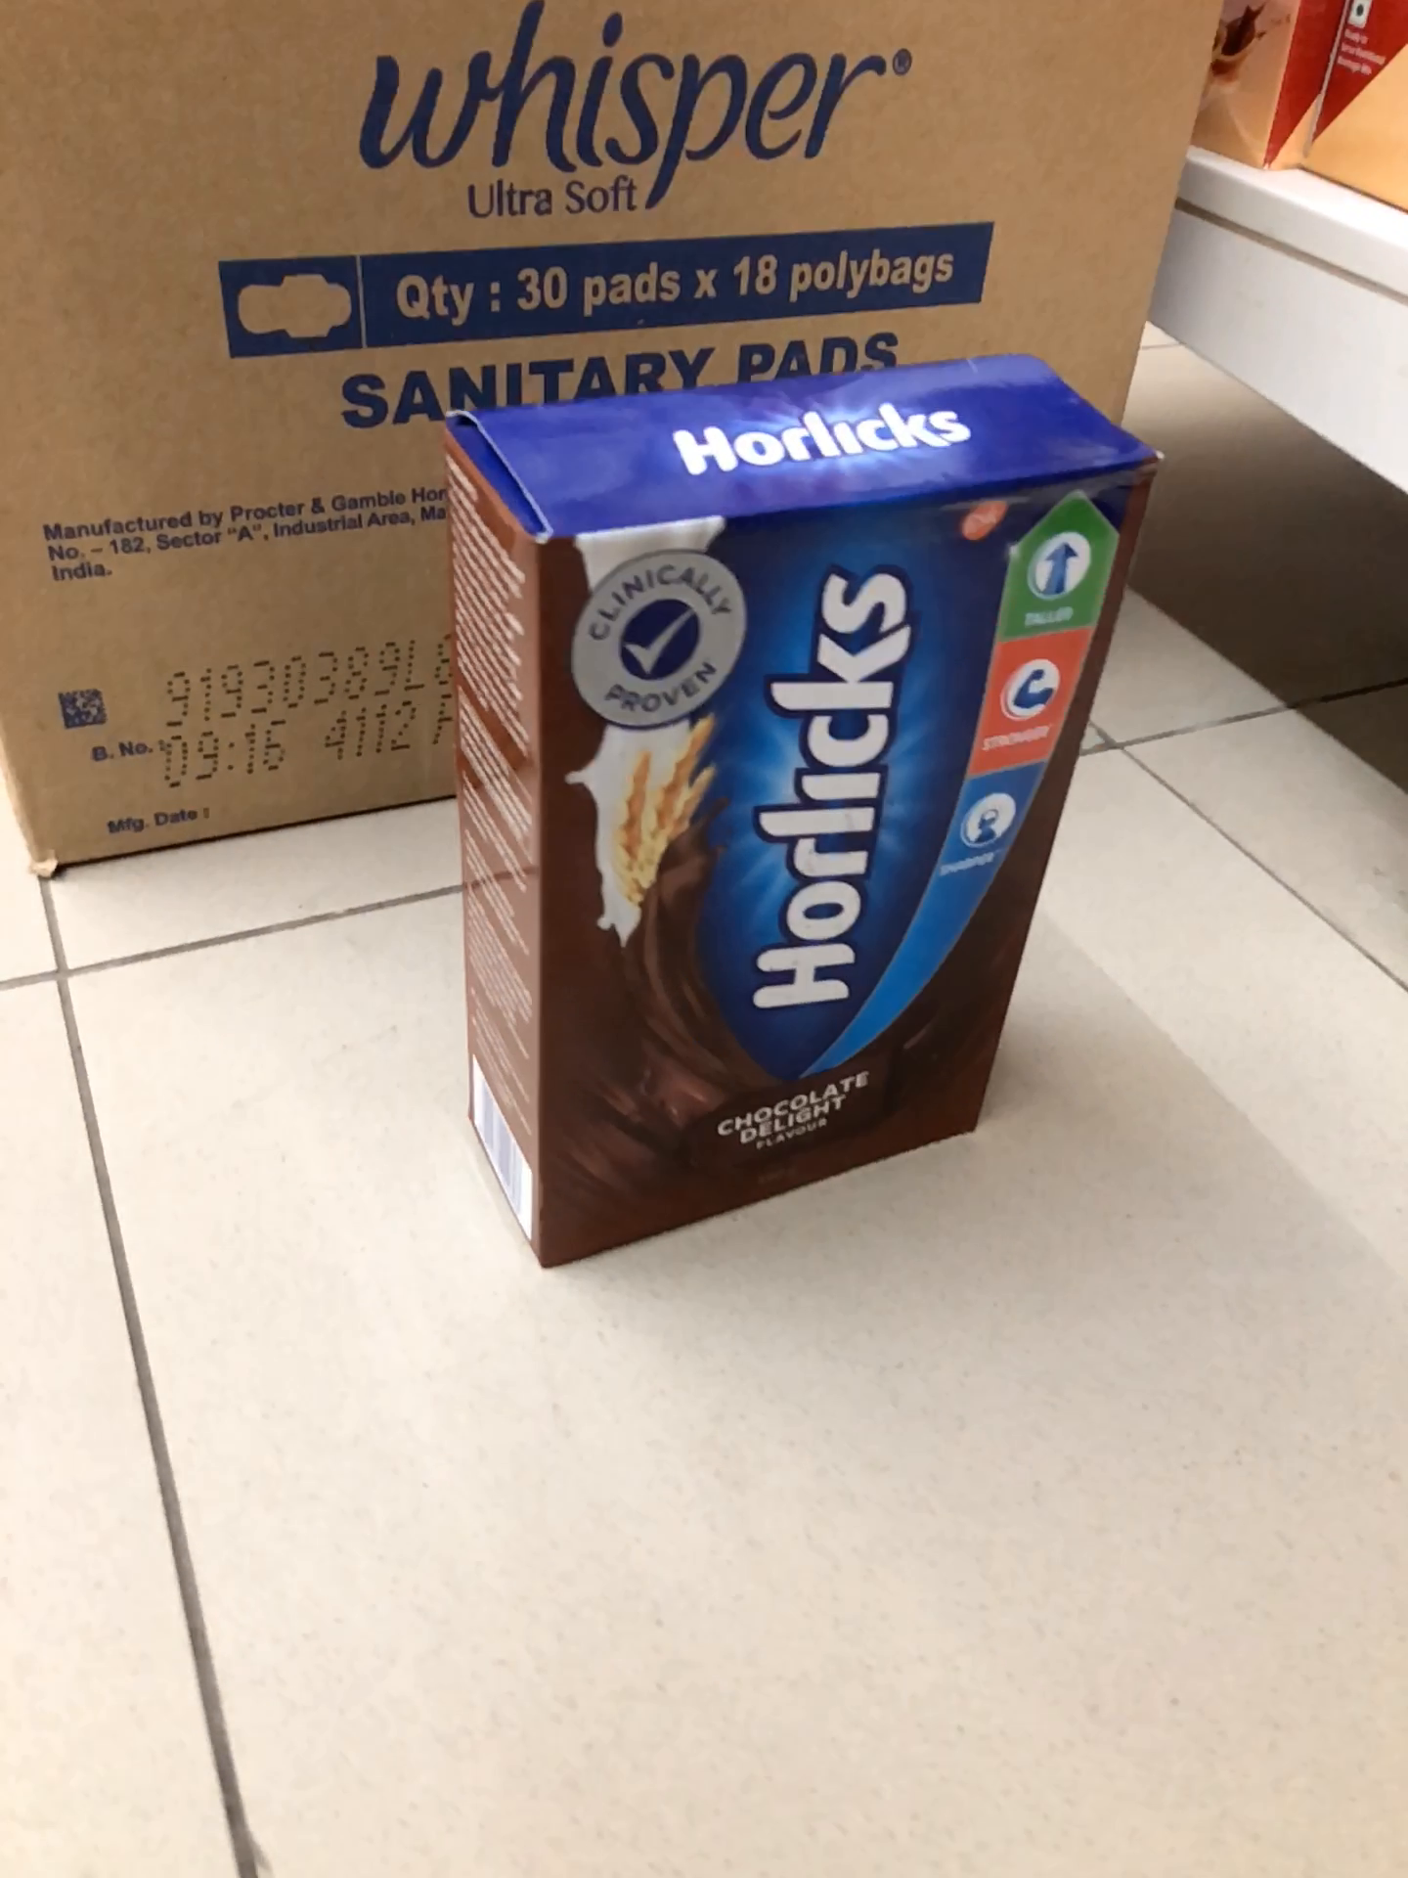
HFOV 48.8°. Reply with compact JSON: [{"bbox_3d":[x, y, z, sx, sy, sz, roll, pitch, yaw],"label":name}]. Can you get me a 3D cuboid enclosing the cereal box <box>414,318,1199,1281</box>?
[{"bbox_3d":[0.016,-0.028,0.362,0.140,0.199,0.060,-13,41,-20],"label":"cereal box"}]
